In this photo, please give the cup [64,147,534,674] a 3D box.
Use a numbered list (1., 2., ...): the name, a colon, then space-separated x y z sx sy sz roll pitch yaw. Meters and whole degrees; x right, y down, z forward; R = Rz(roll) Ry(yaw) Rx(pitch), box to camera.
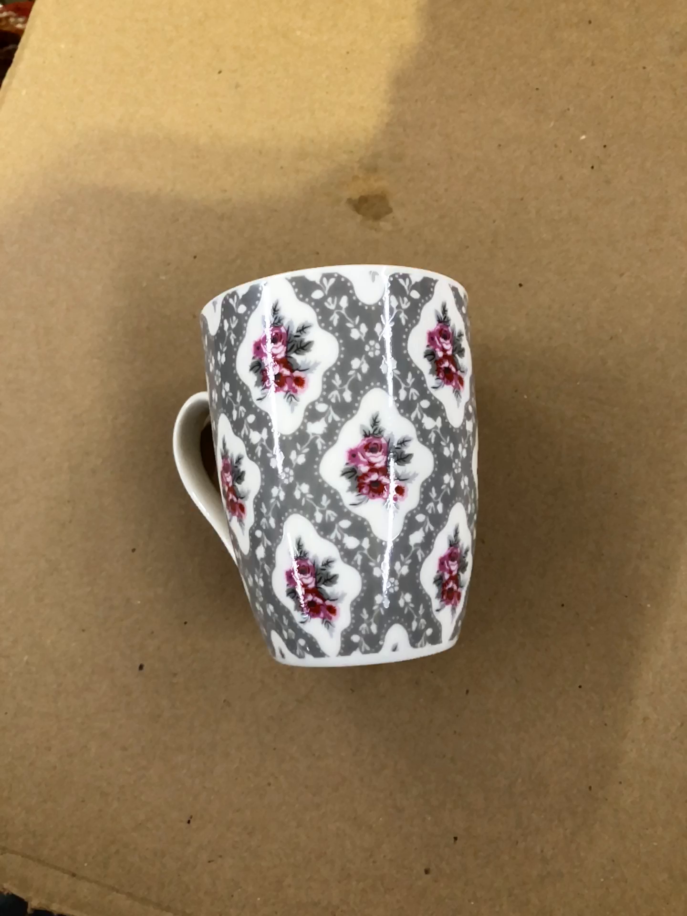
1. cup: -0.015 -0.003 0.219 0.100 0.080 0.110 -10 80 38
